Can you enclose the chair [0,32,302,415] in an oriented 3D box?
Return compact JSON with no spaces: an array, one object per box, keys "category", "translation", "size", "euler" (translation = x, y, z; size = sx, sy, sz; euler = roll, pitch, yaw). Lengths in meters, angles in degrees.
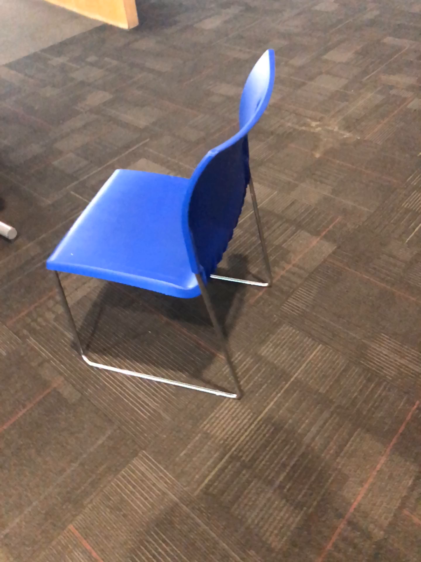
[{"category":"chair","translation":[-0.118,-0.155,1.245],"size":[0.591,0.757,0.582],"euler":[9,47,15]}]
